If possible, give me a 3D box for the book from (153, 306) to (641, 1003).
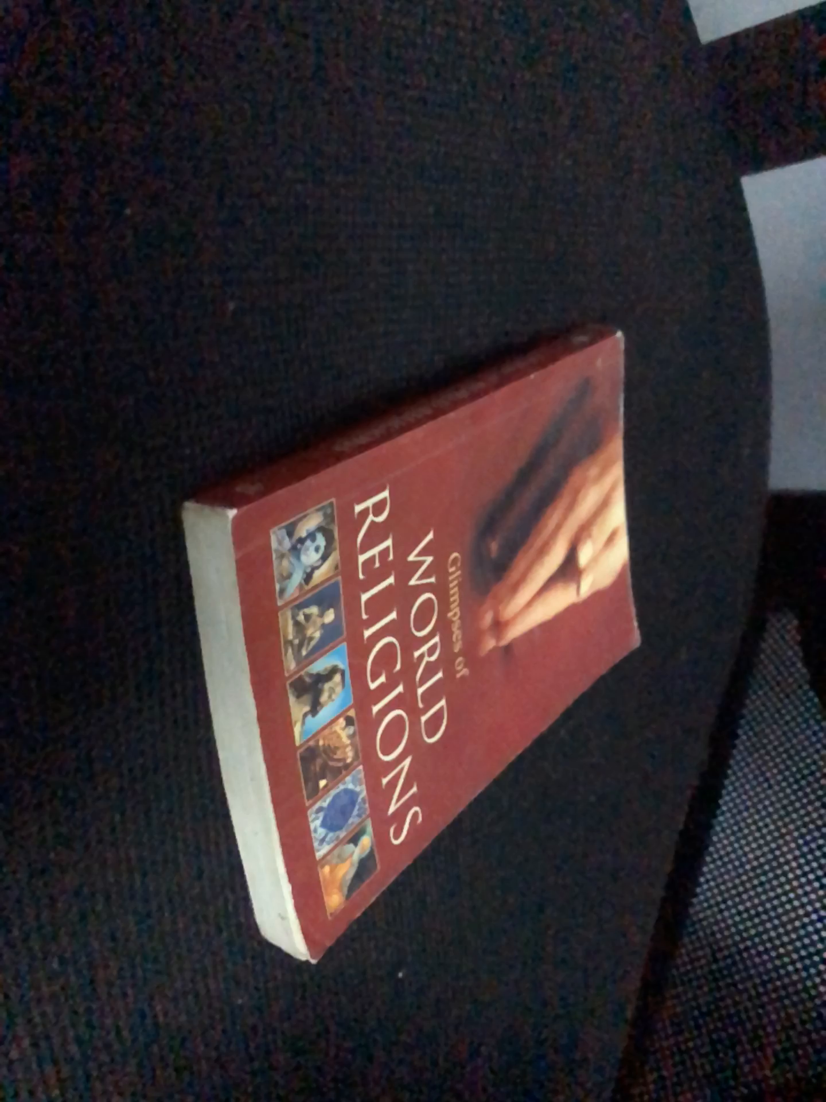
[{"bbox_3d":[0.019,0.013,0.287,0.201,0.020,0.140,-32,126,-46],"label":"book"}]
